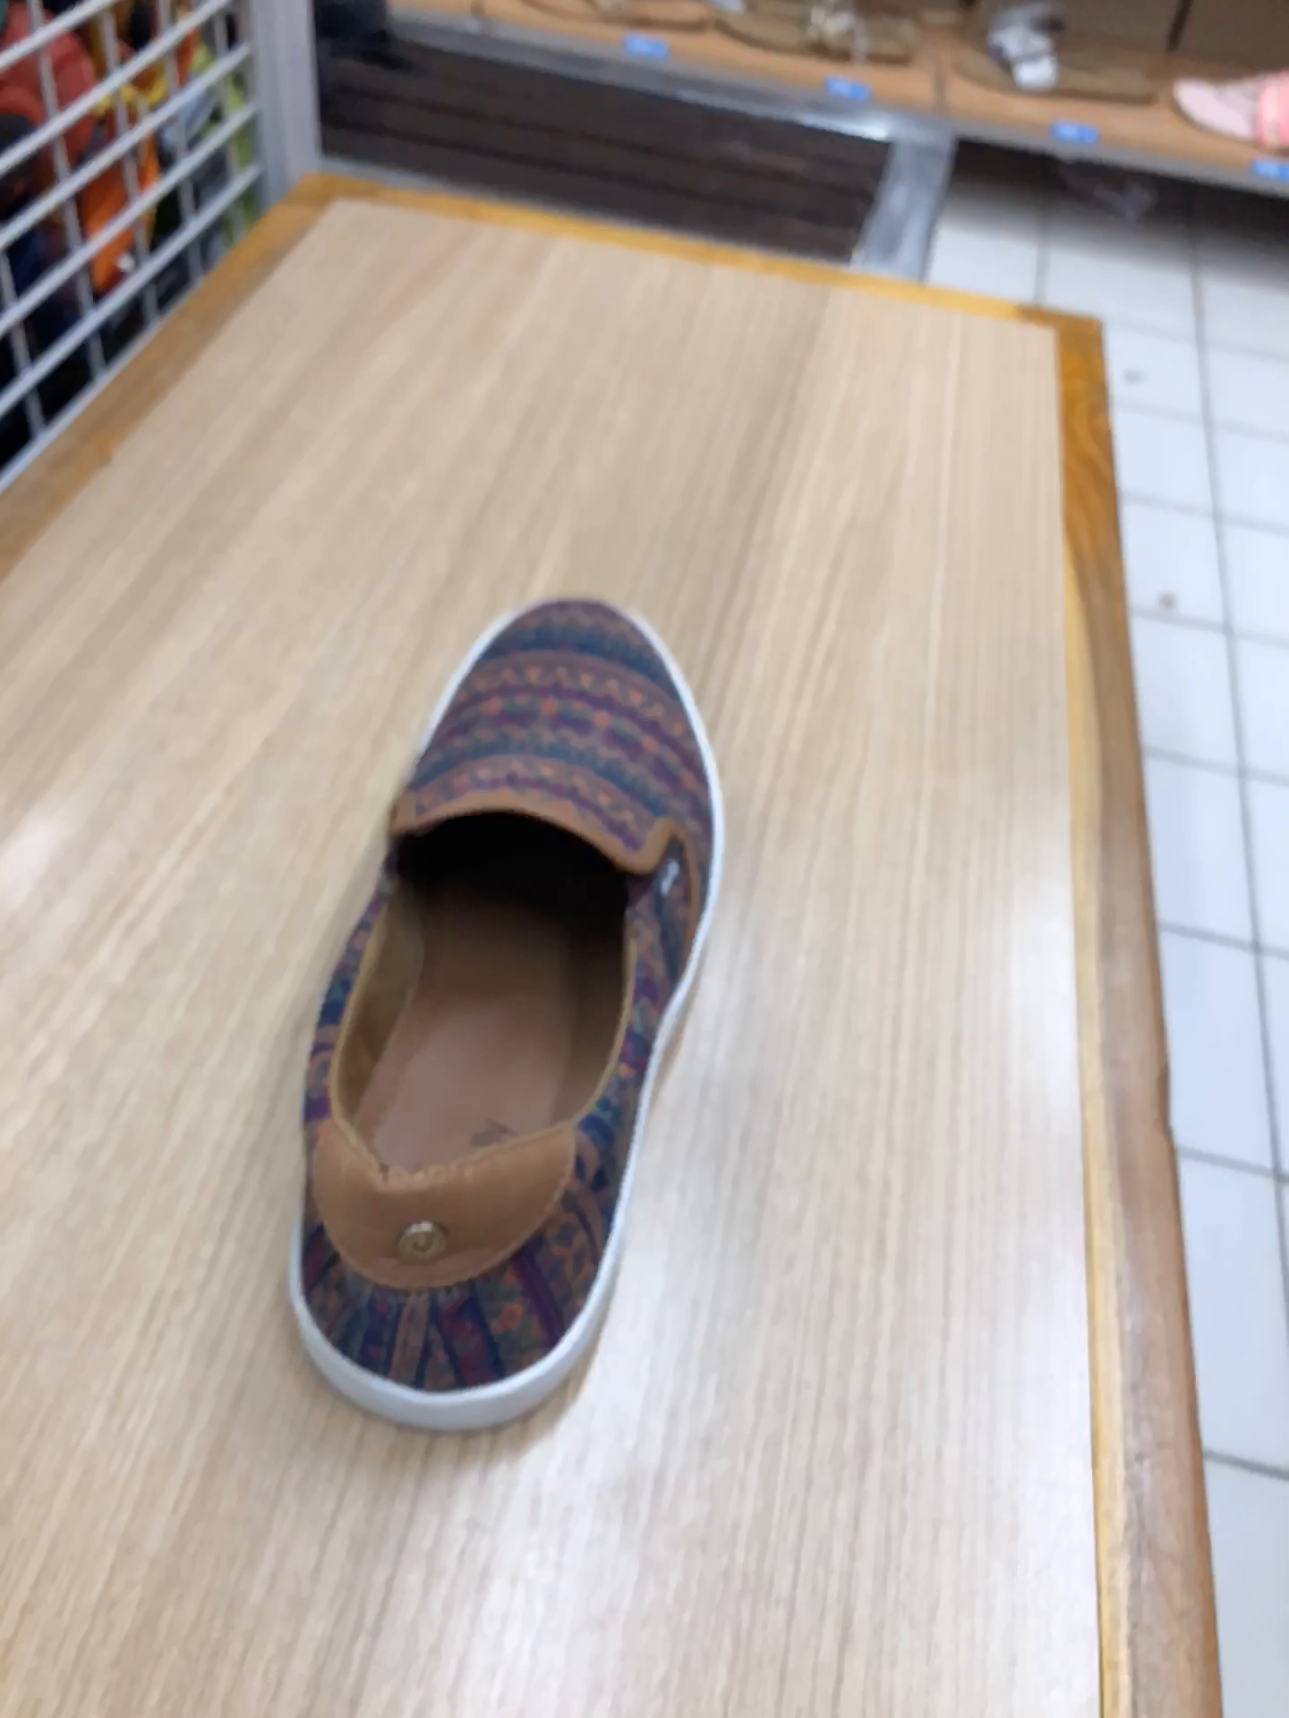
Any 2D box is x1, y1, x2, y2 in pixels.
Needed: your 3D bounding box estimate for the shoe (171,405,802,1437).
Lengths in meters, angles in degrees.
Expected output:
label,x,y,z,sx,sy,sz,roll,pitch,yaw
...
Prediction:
label,x,y,z,sx,sy,sz,roll,pitch,yaw
shoe,-0.023,-0.006,0.388,0.100,0.089,0.272,9,46,1
